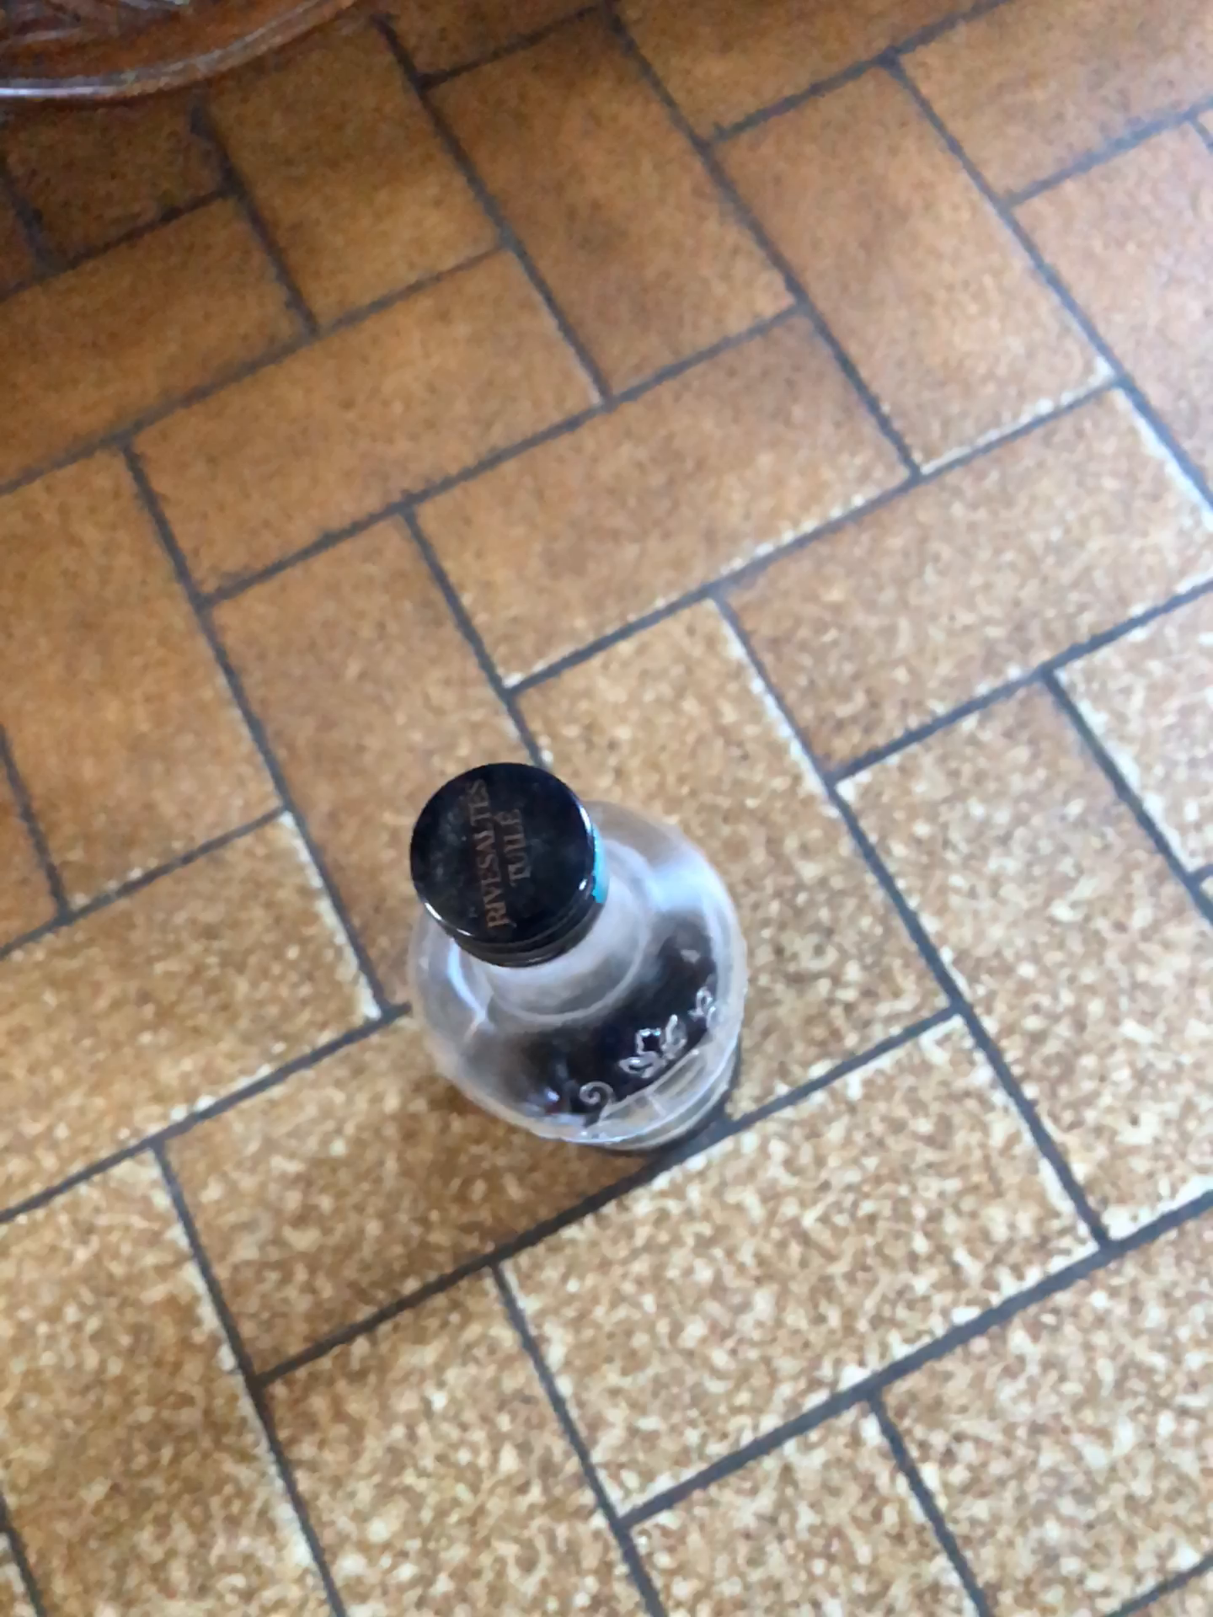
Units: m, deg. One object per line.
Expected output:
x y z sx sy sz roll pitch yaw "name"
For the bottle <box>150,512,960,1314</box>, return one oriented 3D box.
0.003 0.052 0.354 0.090 0.300 0.090 -1 74 5 "bottle"
